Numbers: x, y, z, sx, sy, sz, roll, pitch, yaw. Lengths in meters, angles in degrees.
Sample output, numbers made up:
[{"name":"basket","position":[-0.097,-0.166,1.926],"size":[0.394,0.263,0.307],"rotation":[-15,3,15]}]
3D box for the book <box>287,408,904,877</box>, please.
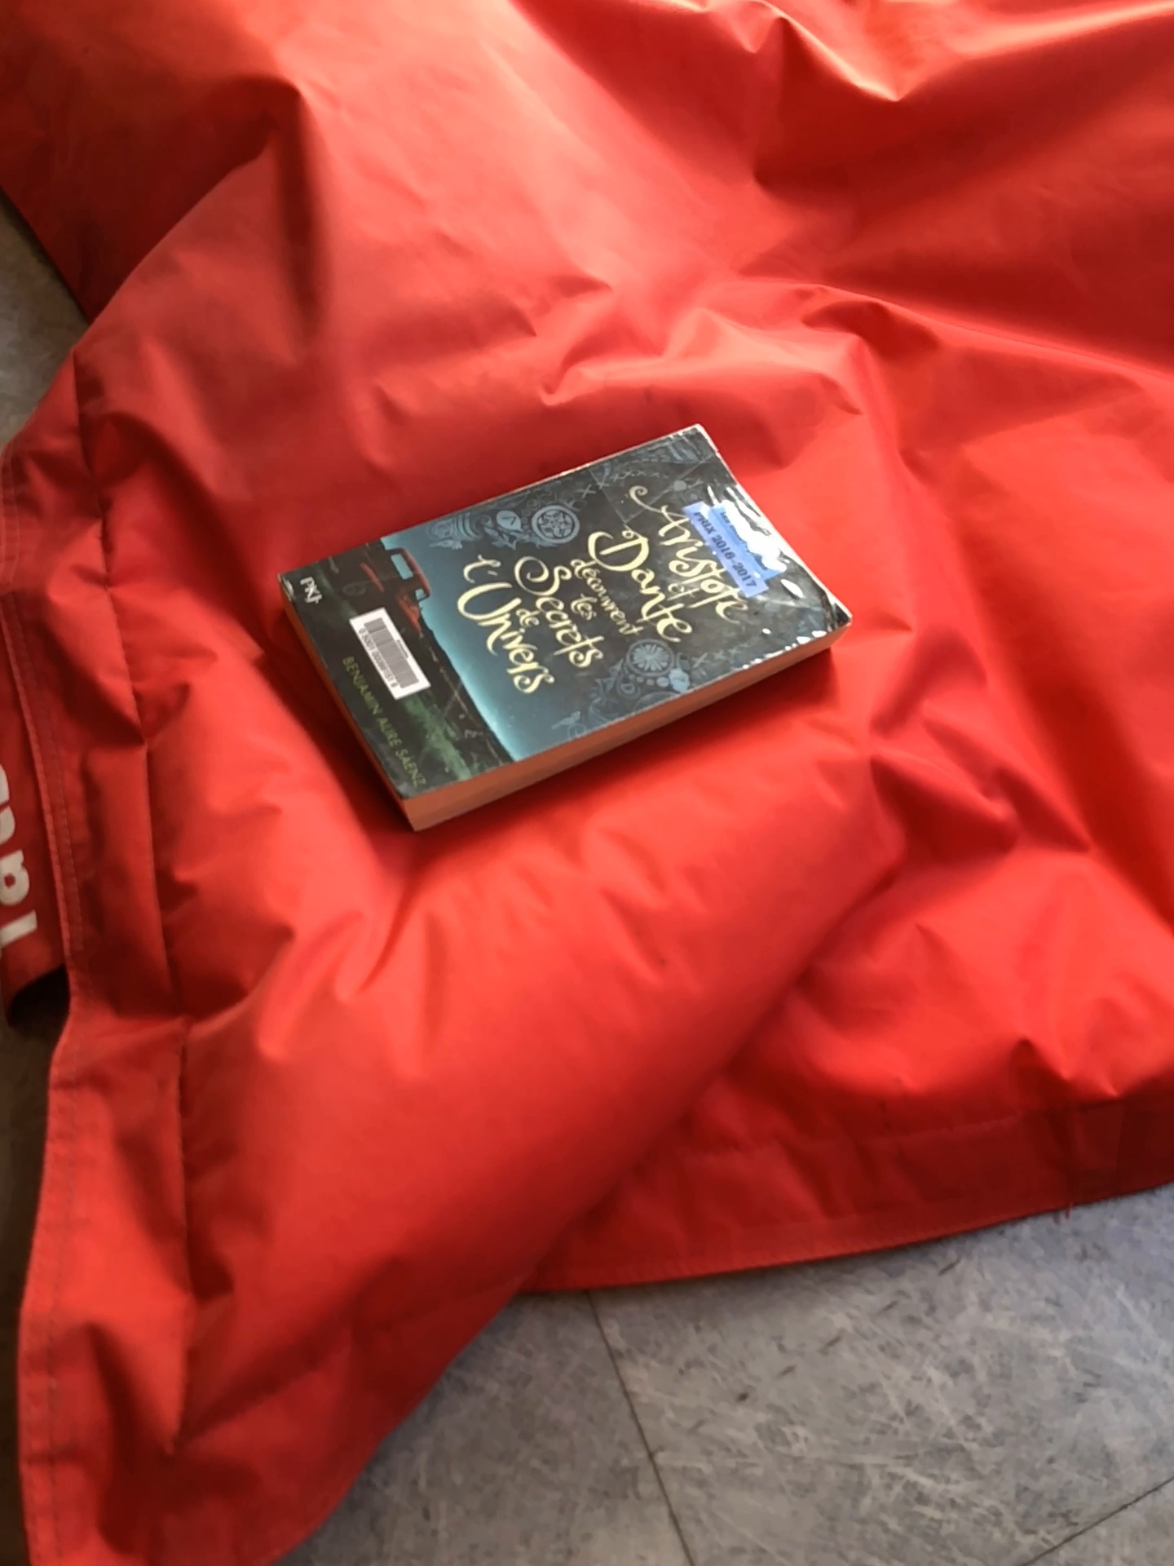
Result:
[{"name":"book","position":[0.003,-0.073,0.583],"size":[0.229,0.048,0.148],"rotation":[-23,60,-16]}]
